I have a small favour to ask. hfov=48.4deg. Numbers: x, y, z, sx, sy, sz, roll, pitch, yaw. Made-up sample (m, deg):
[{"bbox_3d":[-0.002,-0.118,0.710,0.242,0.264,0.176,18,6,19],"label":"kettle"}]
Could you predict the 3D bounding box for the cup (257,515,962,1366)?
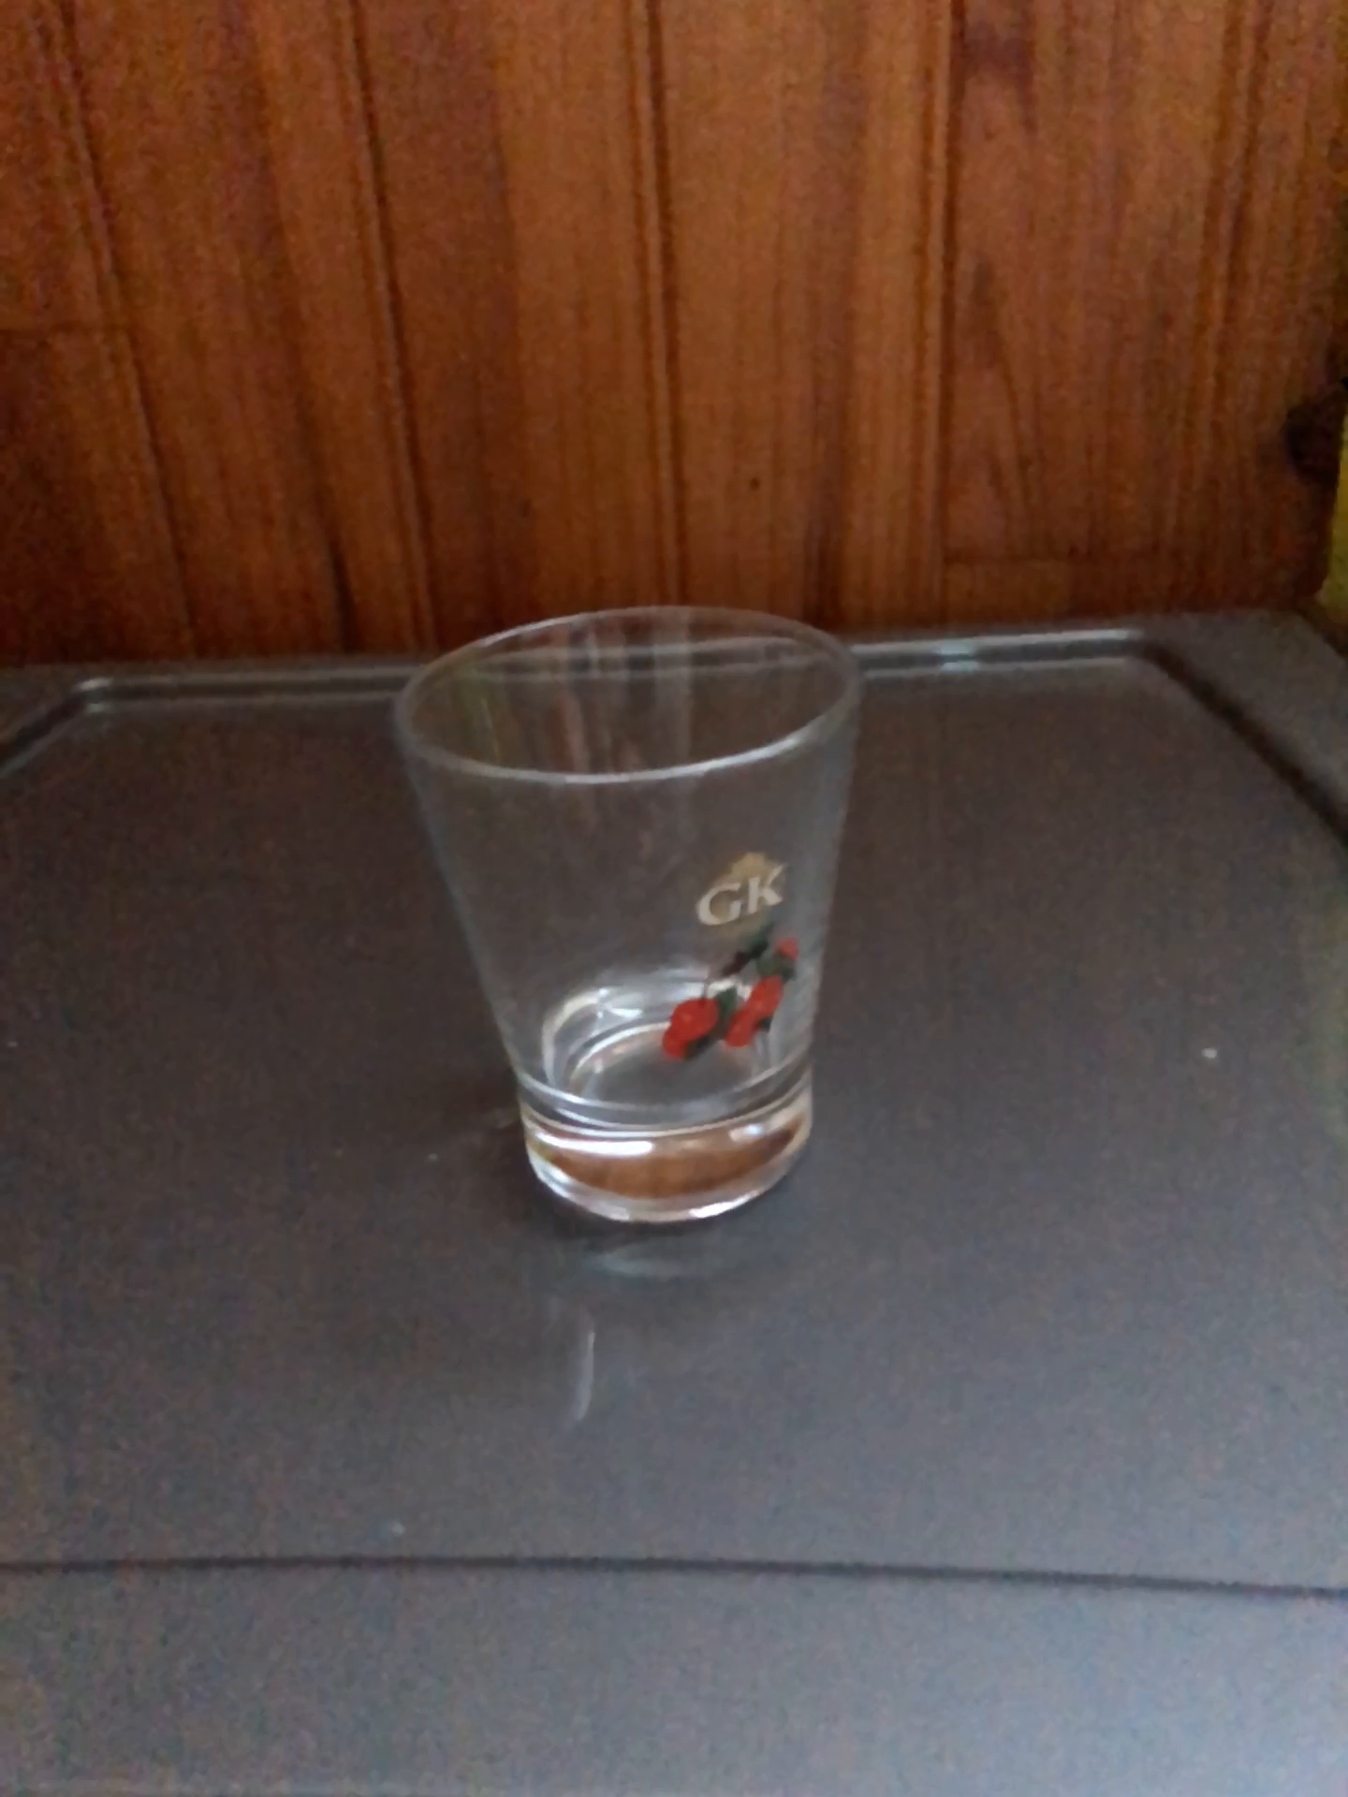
[{"bbox_3d":[-0.006,0.000,0.197,0.060,0.080,0.060,-3,28,2],"label":"cup"}]
